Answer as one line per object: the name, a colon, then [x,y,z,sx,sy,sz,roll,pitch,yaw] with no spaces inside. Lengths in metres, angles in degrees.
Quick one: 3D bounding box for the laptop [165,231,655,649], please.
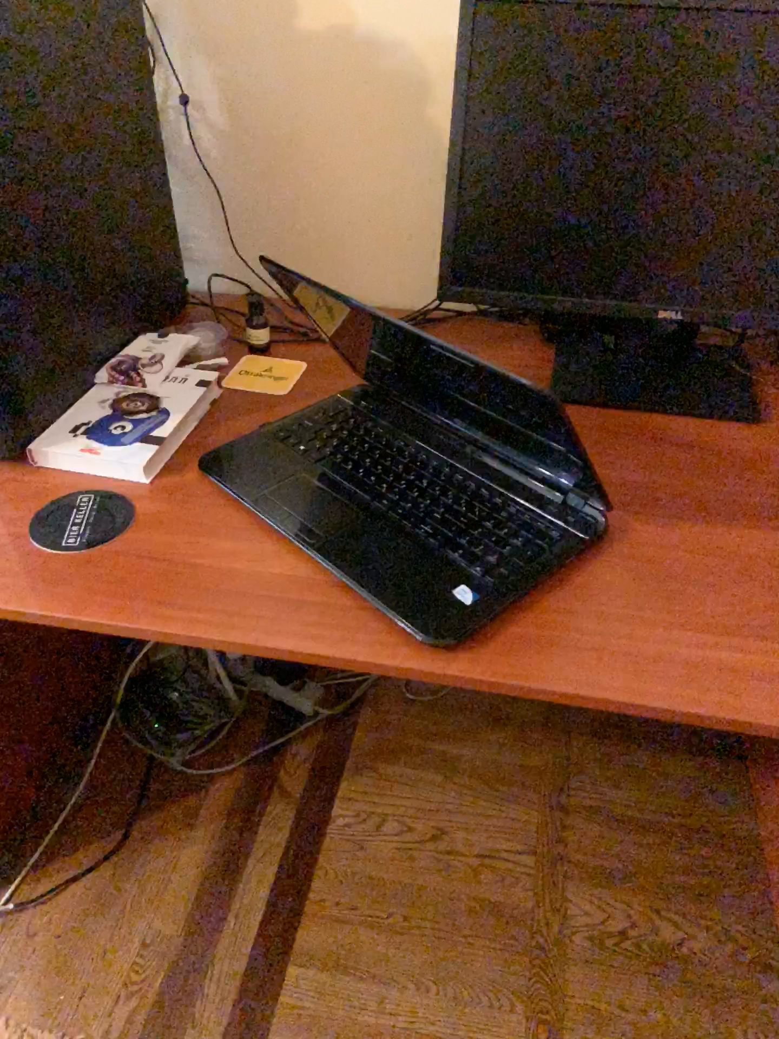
laptop: [0.004,-0.106,0.757,0.244,0.194,0.371,-30,47,-33]
